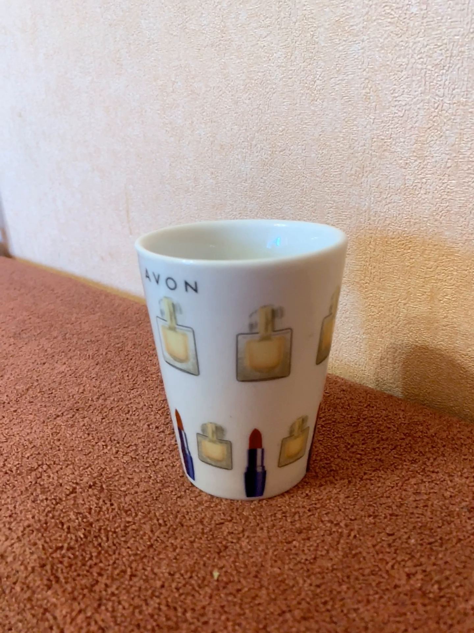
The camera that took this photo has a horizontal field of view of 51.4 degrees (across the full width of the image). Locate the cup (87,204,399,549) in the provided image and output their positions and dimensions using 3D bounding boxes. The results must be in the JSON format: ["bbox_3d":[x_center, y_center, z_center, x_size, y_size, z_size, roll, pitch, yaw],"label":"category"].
[{"bbox_3d":[-0.001,0.011,0.205,0.071,0.093,0.103,-18,26,-34],"label":"cup"}]
